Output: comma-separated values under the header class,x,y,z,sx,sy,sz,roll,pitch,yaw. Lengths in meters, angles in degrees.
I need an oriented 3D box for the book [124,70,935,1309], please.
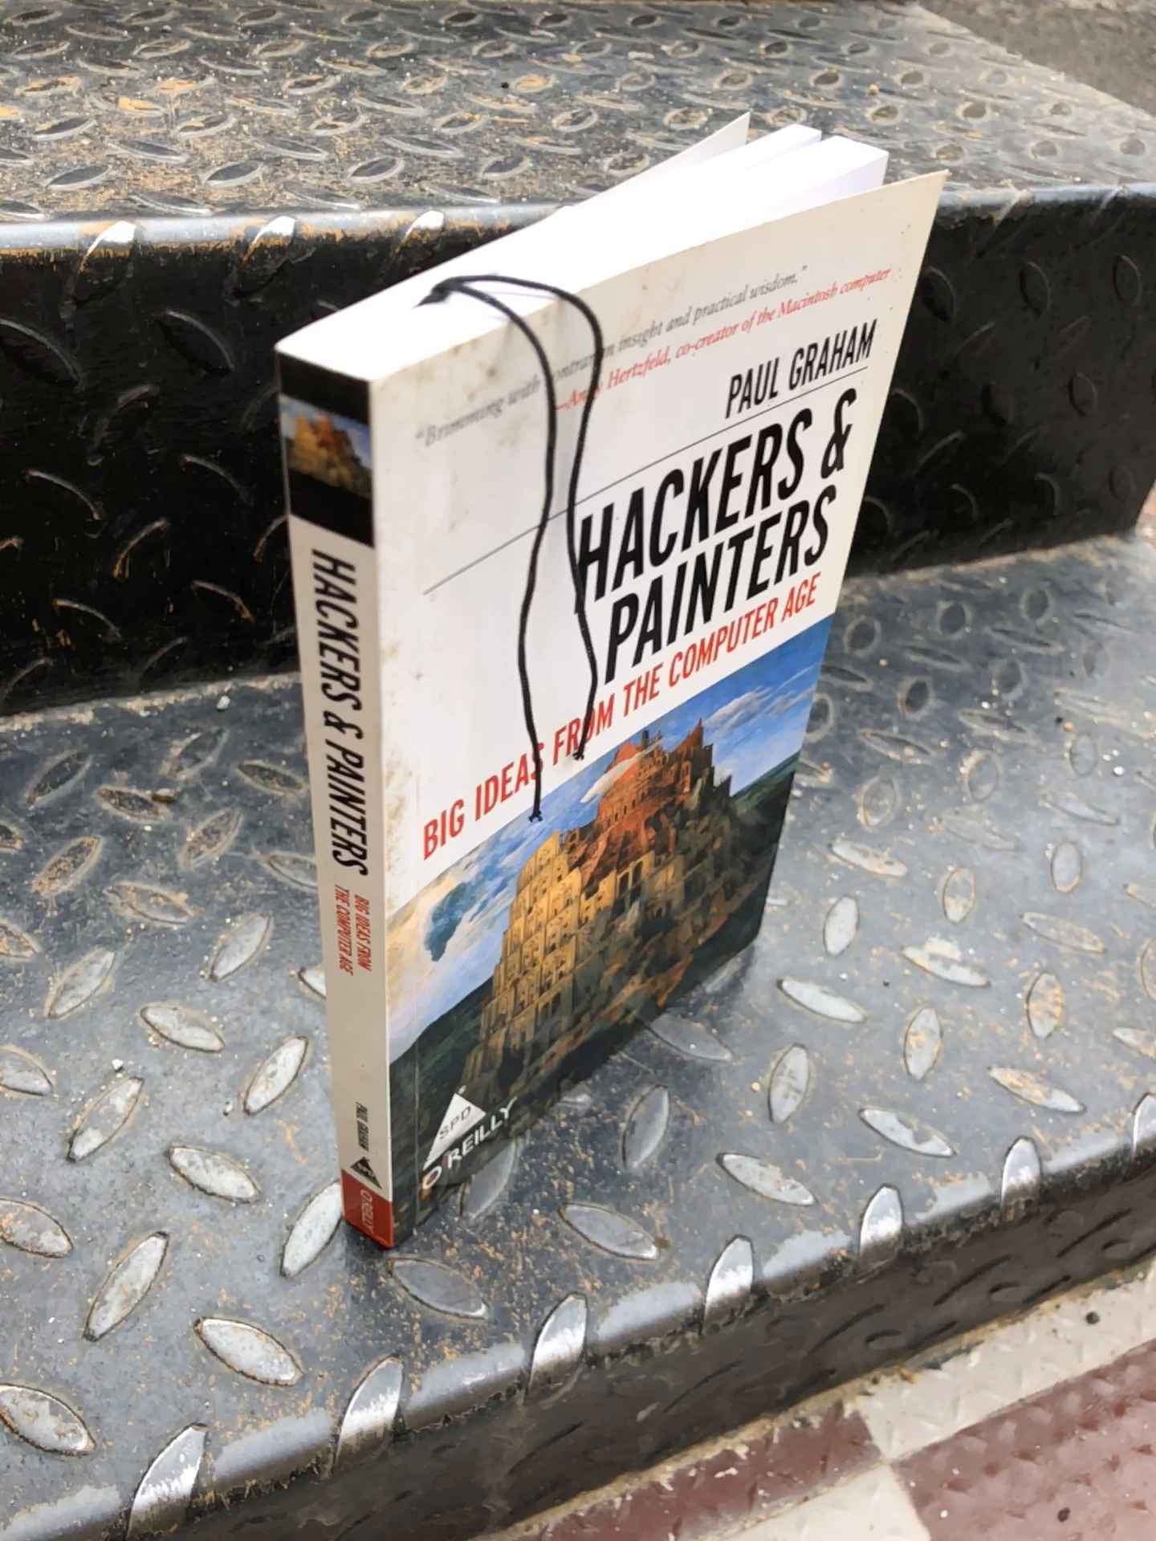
class,x,y,z,sx,sy,sz,roll,pitch,yaw
book,0.002,-0.010,0.277,0.030,0.219,0.171,28,48,24
